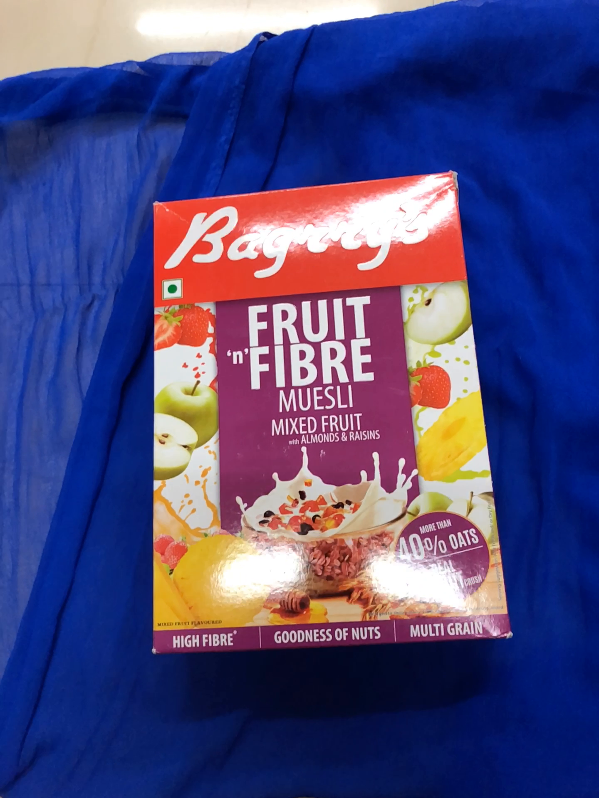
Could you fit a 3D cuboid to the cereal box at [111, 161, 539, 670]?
[{"bbox_3d":[0.006,0.010,0.377,0.200,0.080,0.250,-4,77,5],"label":"cereal box"}]
